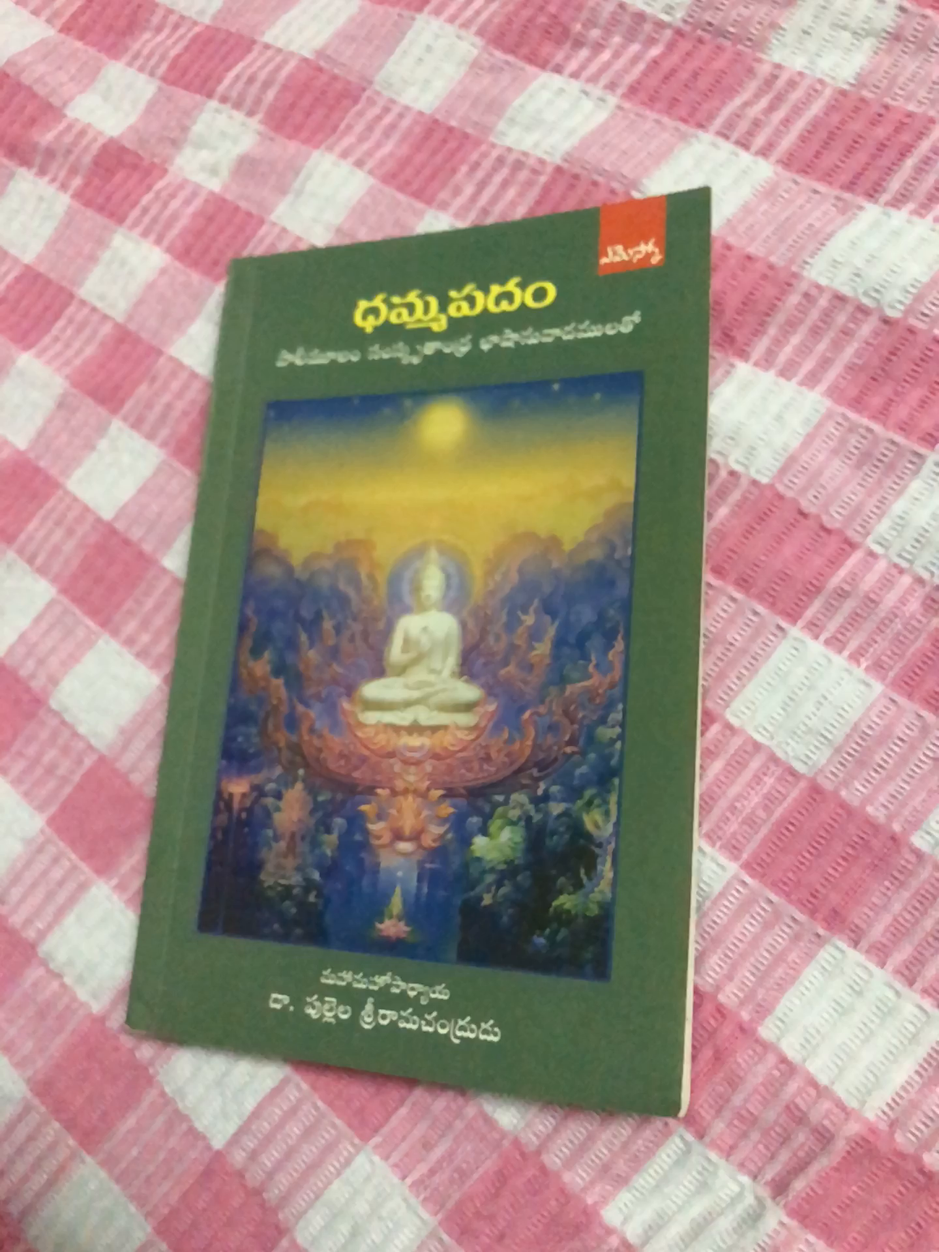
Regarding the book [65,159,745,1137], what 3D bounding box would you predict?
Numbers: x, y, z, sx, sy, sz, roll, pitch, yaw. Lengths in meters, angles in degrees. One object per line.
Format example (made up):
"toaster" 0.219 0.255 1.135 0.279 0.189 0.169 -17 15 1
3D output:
"book" -0.011 -0.004 0.240 0.140 0.020 0.200 0 75 19
